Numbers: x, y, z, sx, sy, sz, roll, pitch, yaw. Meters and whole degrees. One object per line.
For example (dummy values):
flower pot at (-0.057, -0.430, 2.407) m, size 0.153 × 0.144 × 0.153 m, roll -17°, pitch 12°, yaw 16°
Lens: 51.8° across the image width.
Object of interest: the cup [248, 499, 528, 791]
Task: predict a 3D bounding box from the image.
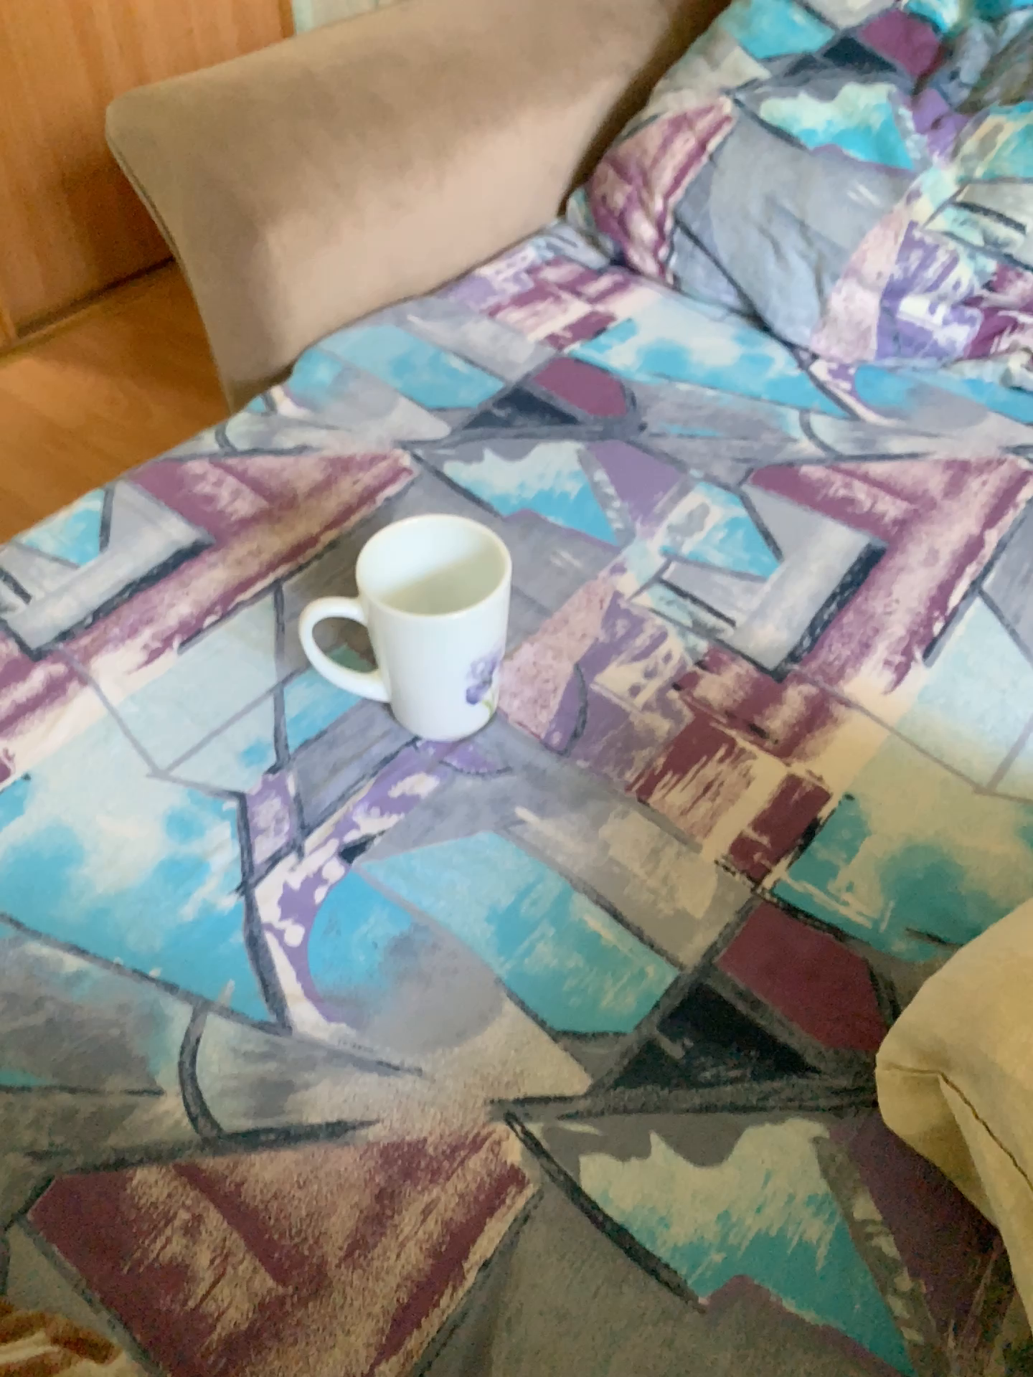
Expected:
cup at (-0.065, -0.023, 0.560) m, size 0.120 × 0.099 × 0.081 m, roll -16°, pitch 49°, yaw -14°
